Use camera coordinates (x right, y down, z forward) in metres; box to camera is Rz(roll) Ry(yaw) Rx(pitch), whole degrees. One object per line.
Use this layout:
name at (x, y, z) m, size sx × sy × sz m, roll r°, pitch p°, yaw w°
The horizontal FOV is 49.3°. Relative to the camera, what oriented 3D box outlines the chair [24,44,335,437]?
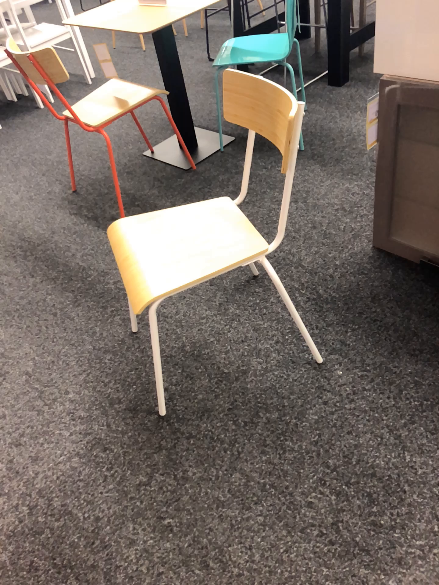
chair at (-0.075, -0.141, 1.372) m, size 0.581 × 0.816 × 0.542 m, roll -22°, pitch 42°, yaw -10°
